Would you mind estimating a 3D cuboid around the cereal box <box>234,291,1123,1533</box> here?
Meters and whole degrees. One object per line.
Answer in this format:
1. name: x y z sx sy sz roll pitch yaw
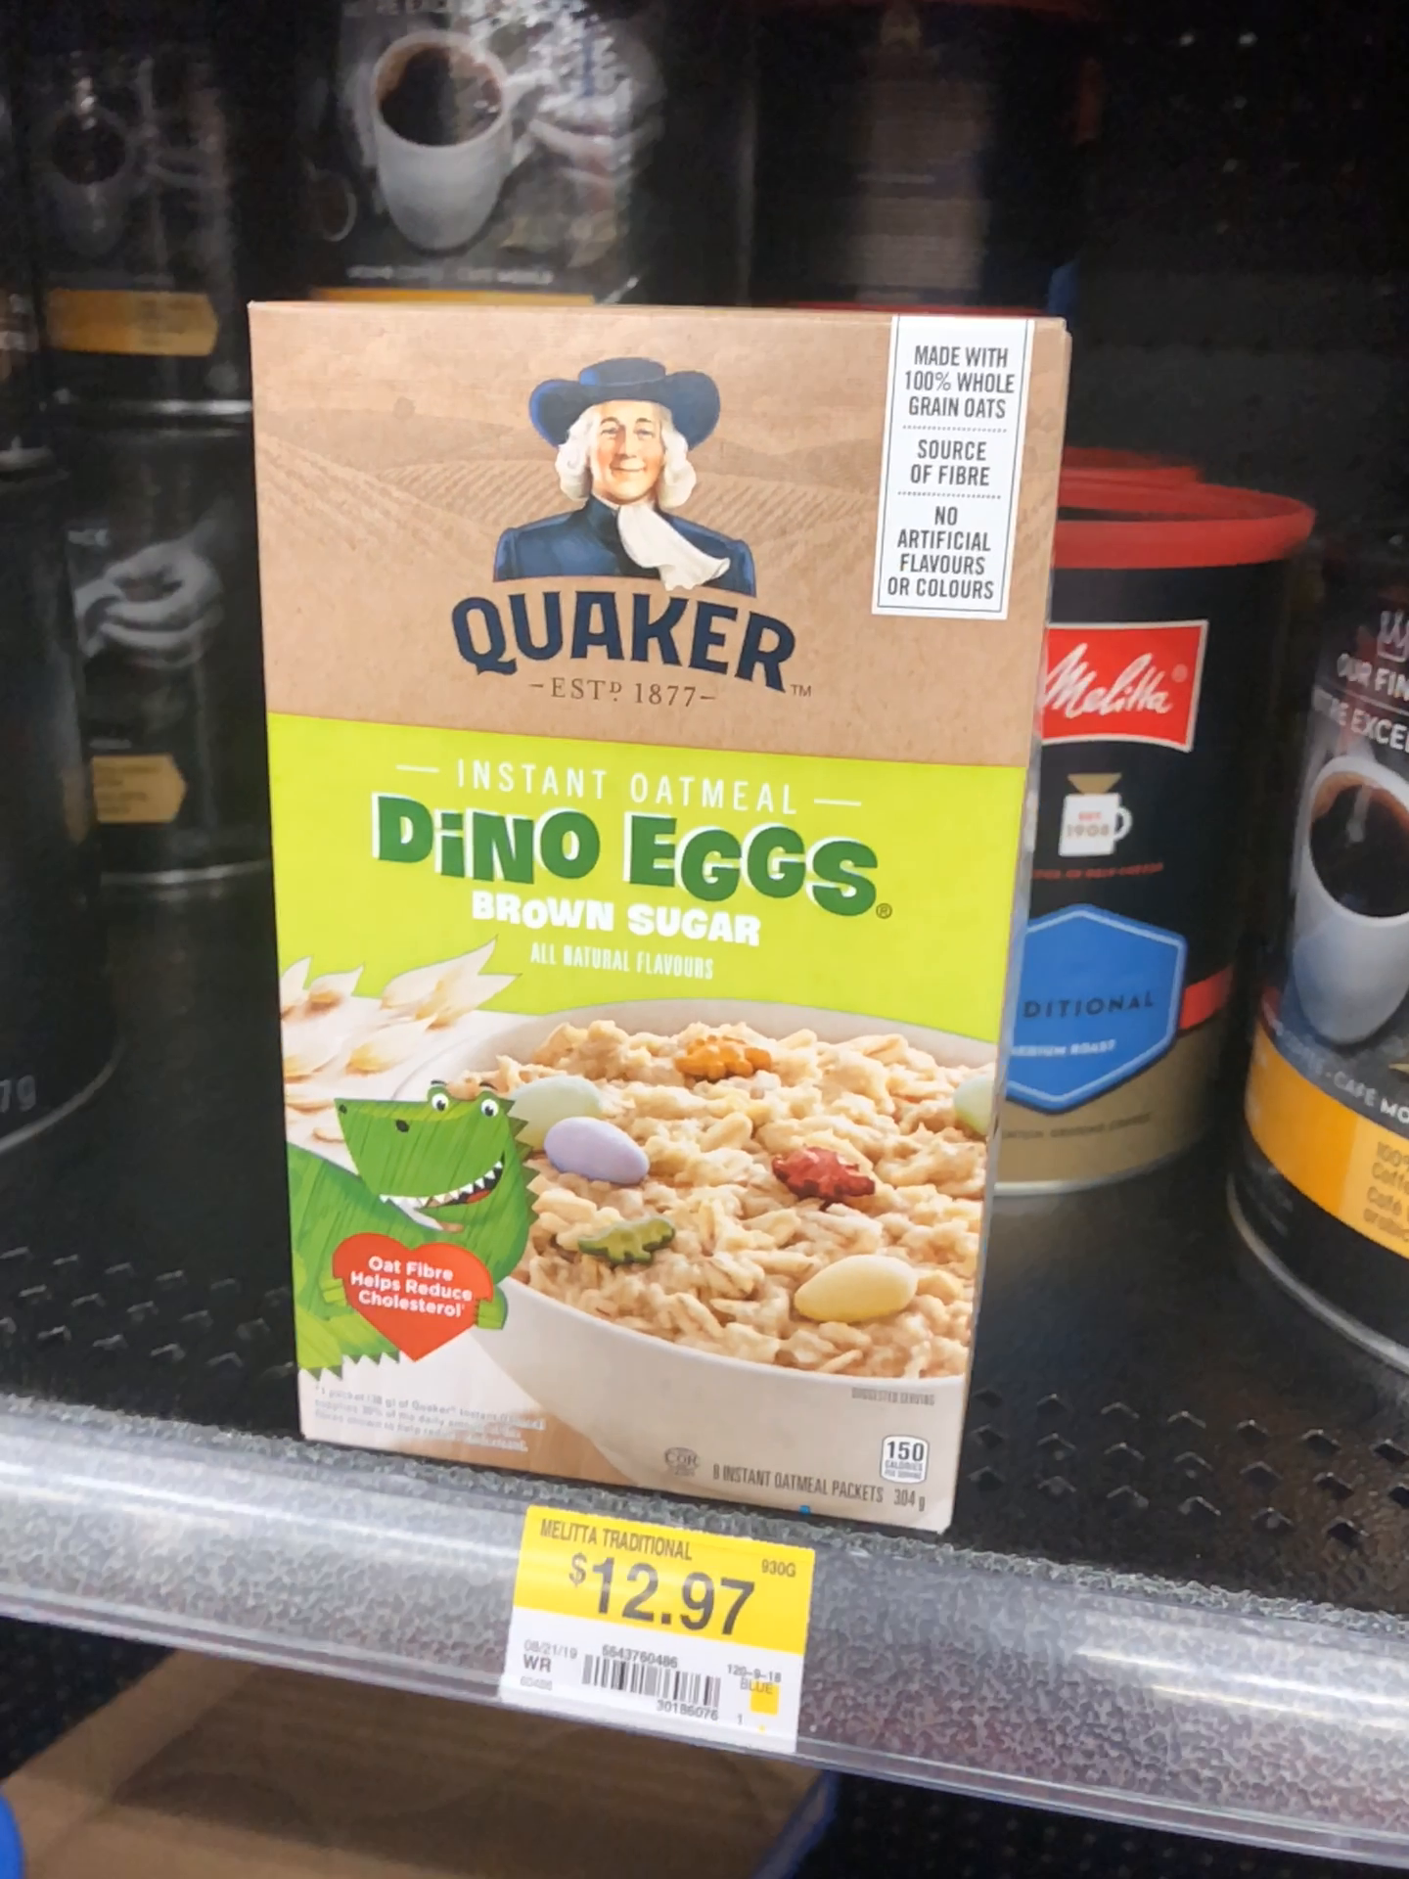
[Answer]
1. cereal box: -0.004 -0.007 0.290 0.130 0.199 0.070 5 18 9
